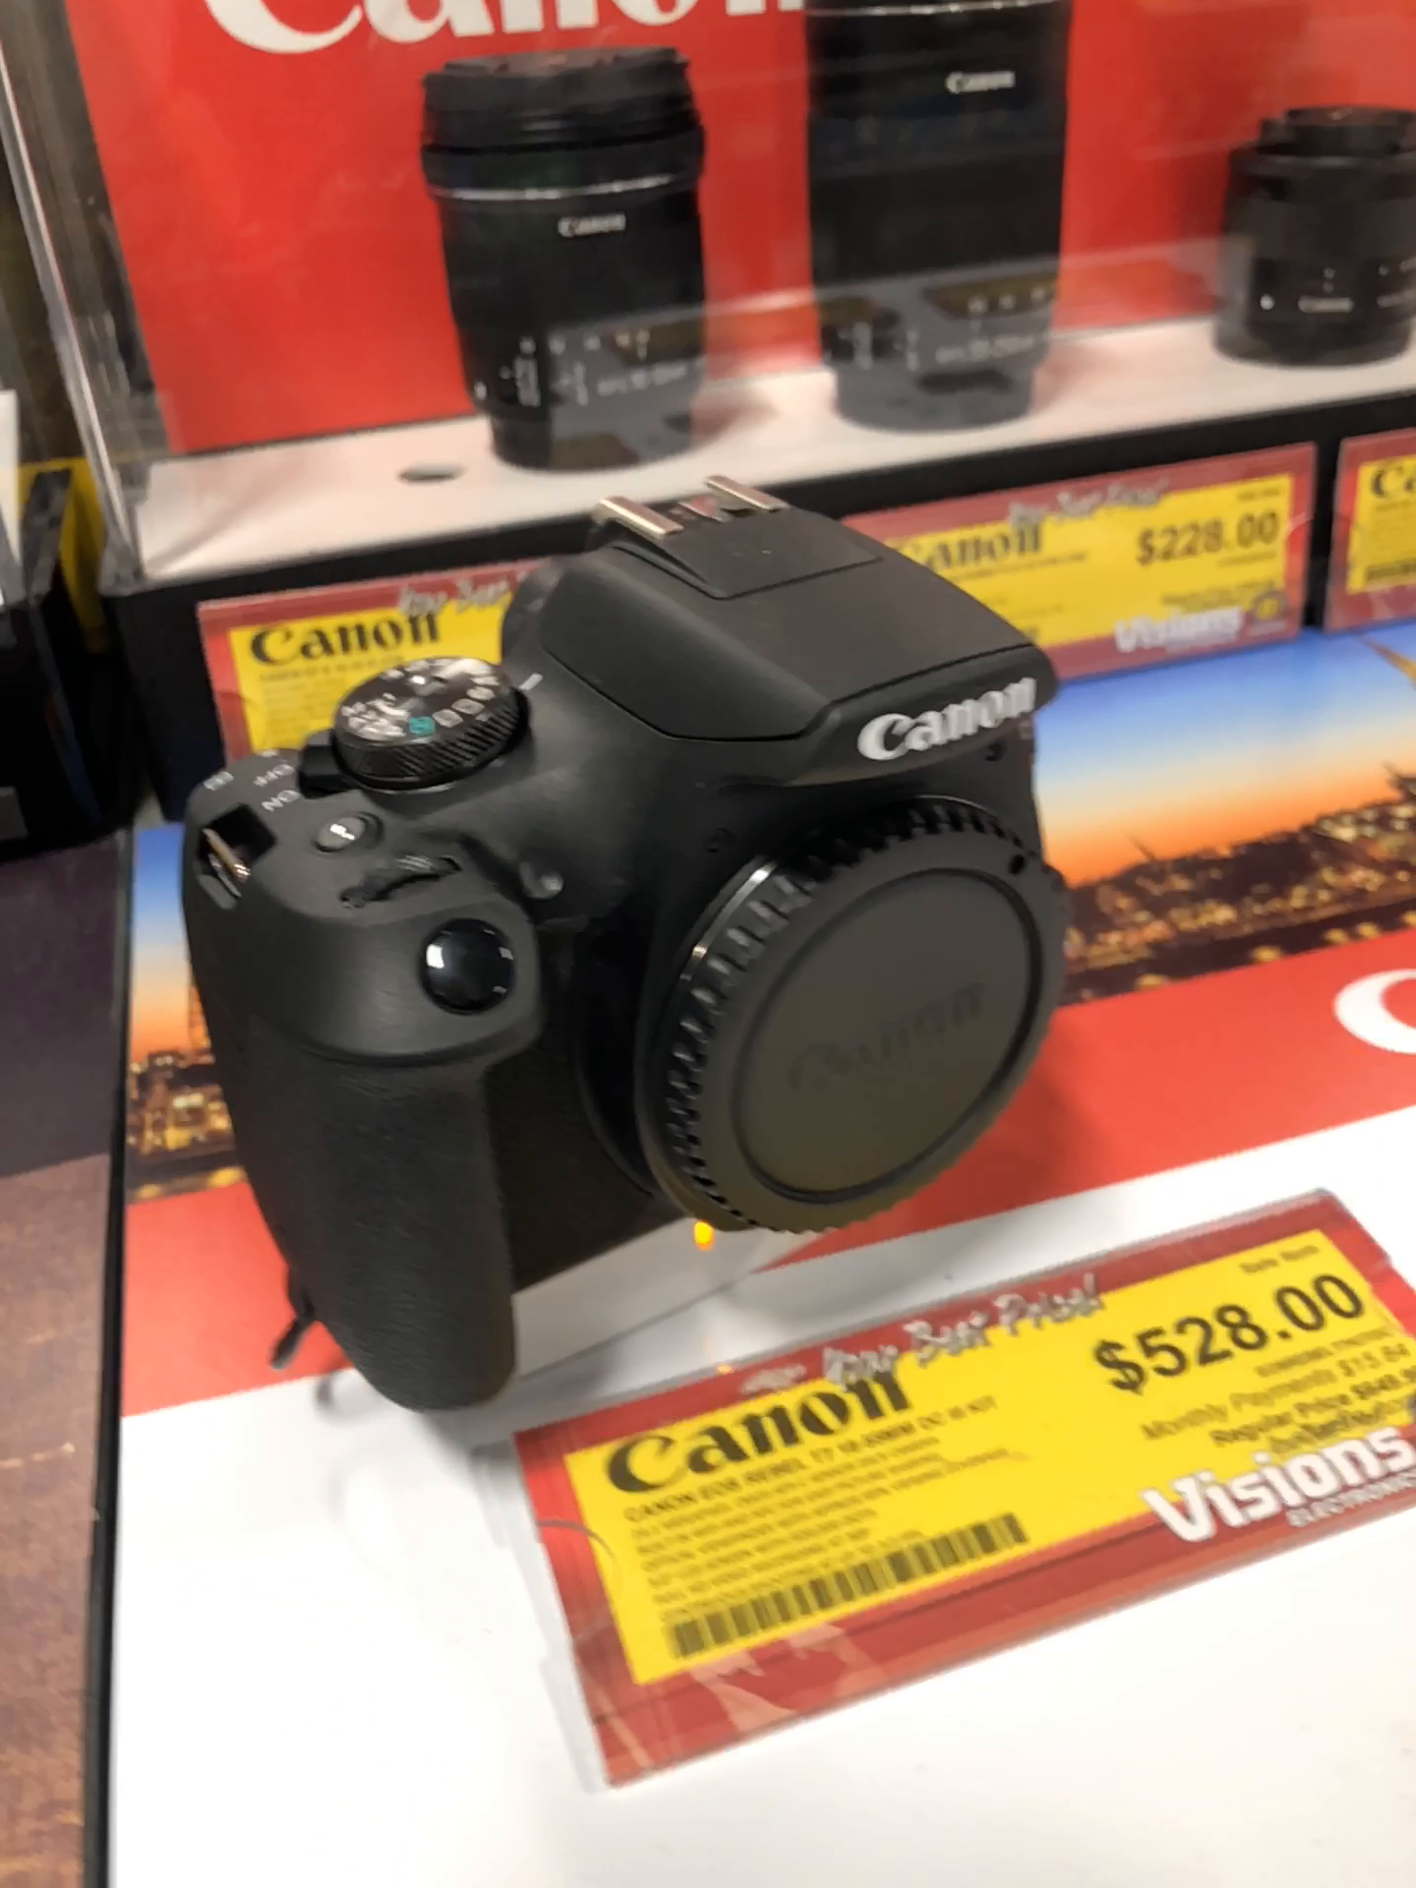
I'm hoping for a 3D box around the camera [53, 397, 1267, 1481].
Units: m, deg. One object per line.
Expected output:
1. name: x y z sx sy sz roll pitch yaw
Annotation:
1. camera: -0.006 -0.013 0.228 0.130 0.089 0.091 -20 36 -24
